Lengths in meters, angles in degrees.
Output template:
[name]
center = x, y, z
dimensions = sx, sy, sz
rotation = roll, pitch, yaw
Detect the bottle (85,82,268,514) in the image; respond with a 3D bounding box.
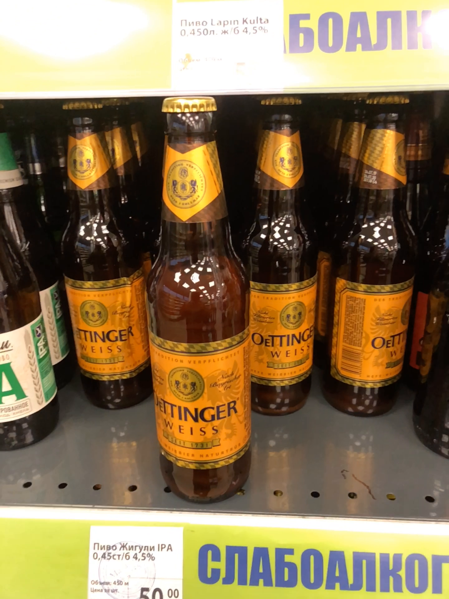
[bottle]
center = -0.018, 0.003, 0.296
dimensions = 0.071, 0.243, 0.070
rotation = -1, 24, 0
